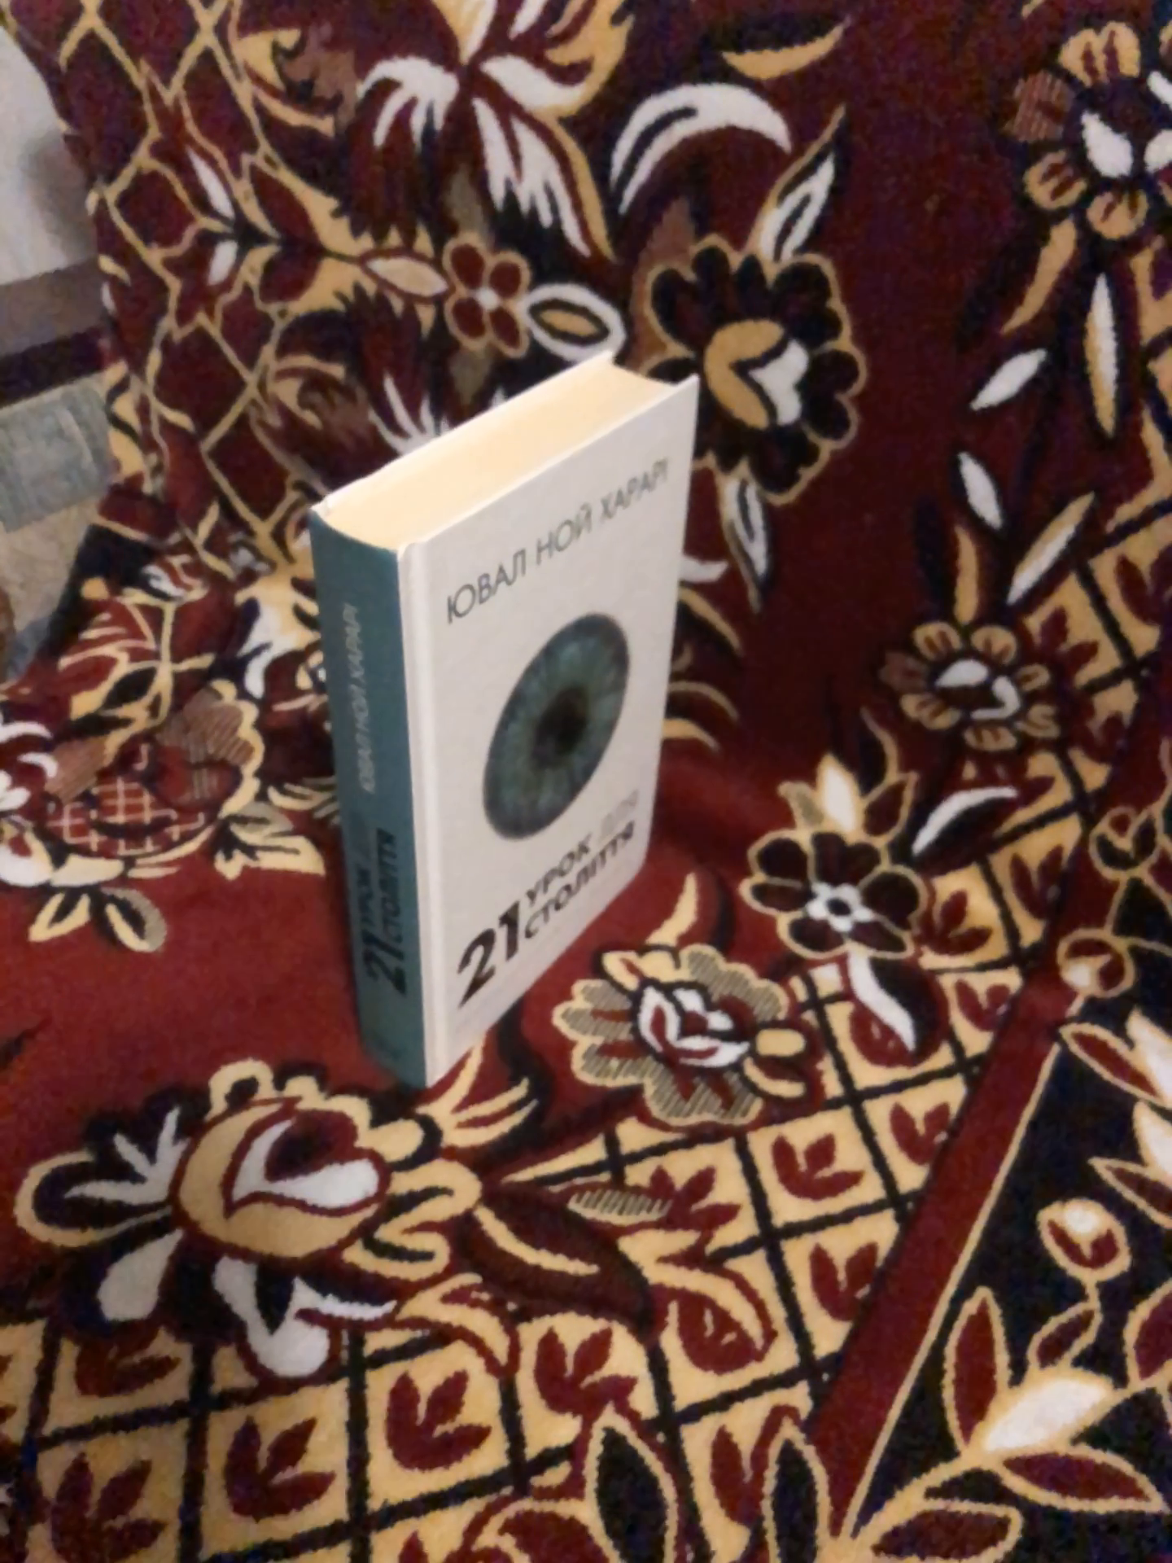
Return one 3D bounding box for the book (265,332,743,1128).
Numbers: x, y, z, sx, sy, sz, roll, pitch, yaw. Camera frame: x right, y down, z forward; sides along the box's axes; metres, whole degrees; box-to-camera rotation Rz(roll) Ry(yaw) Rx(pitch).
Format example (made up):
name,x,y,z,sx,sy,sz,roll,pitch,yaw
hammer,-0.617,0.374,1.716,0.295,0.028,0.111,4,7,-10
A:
name,x,y,z,sx,sy,sz,roll,pitch,yaw
book,-0.020,-0.015,0.418,0.040,0.211,0.154,27,43,27
